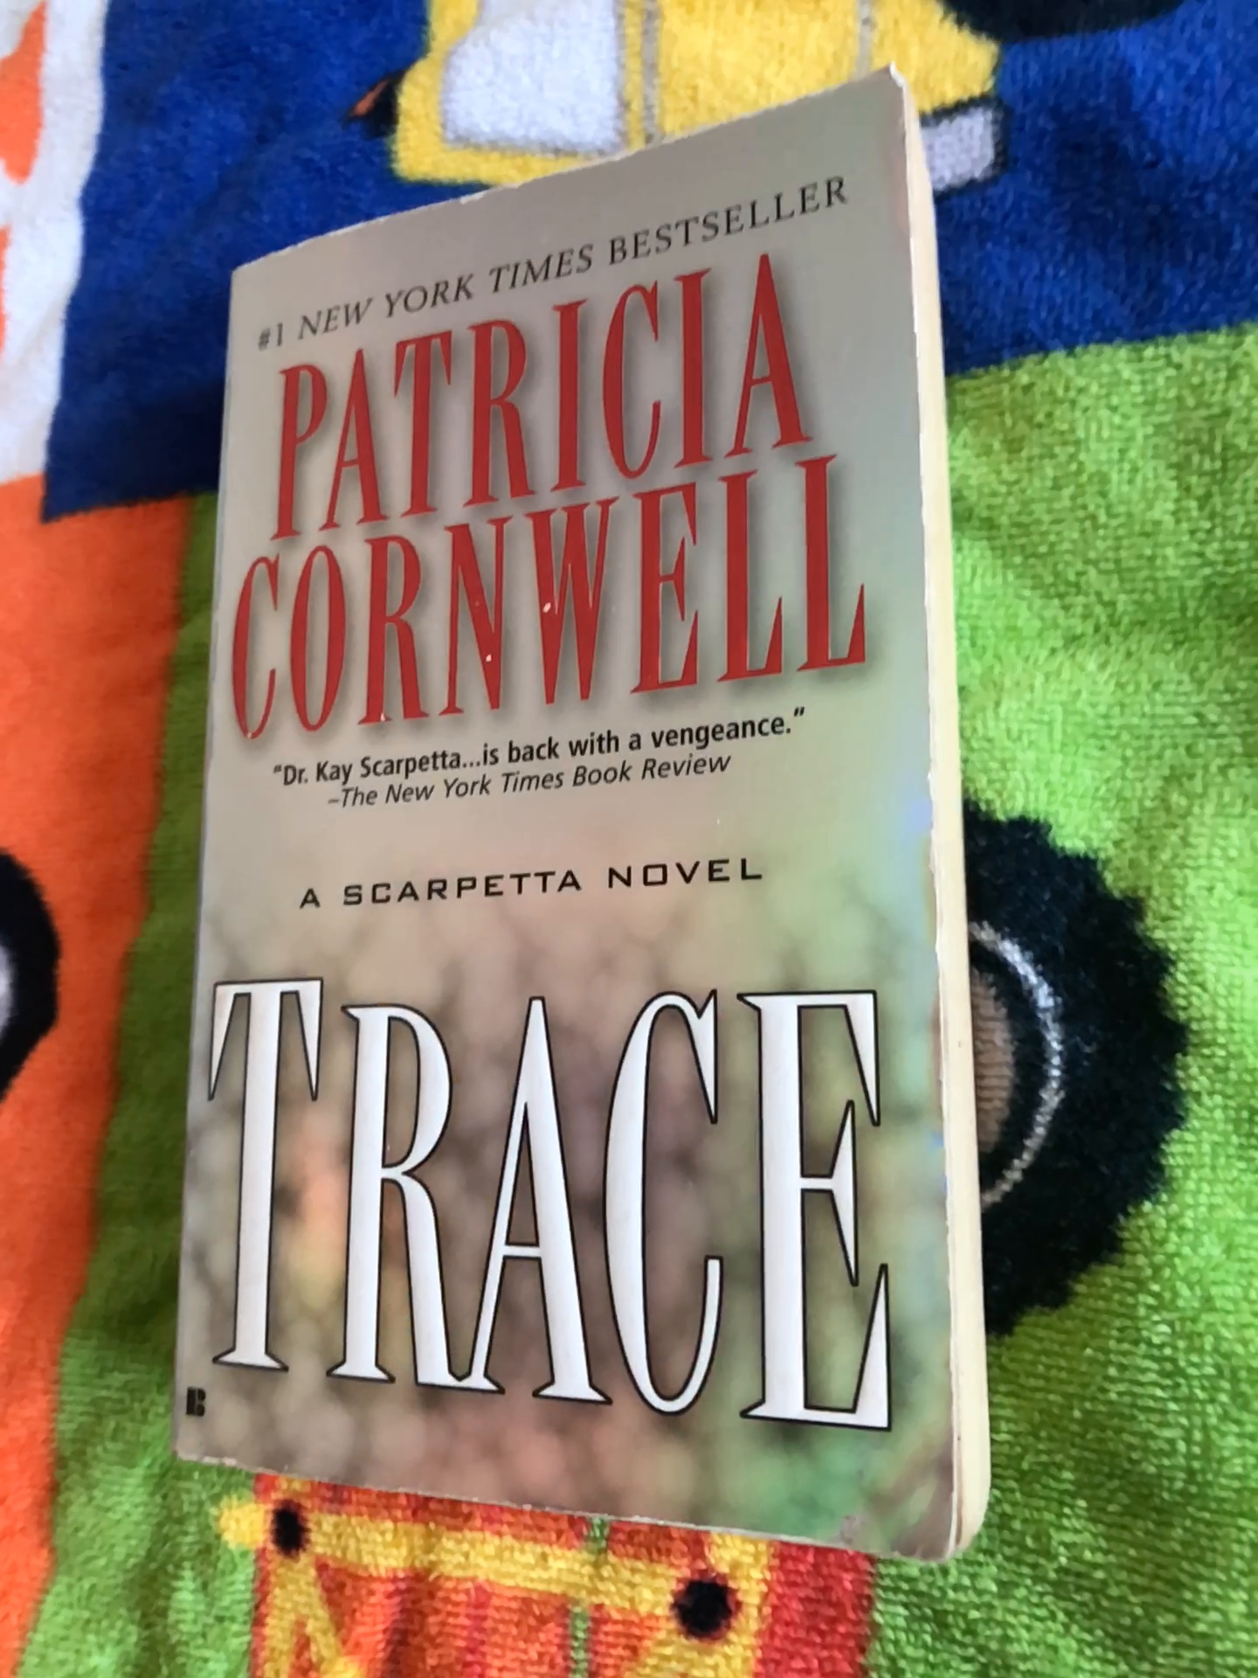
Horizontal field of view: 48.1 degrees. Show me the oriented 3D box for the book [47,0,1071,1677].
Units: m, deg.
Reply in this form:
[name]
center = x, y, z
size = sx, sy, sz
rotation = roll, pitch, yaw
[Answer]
[book]
center = -0.009, -0.004, 0.188
size = 0.120, 0.040, 0.180
rotation = -4, 78, 25
